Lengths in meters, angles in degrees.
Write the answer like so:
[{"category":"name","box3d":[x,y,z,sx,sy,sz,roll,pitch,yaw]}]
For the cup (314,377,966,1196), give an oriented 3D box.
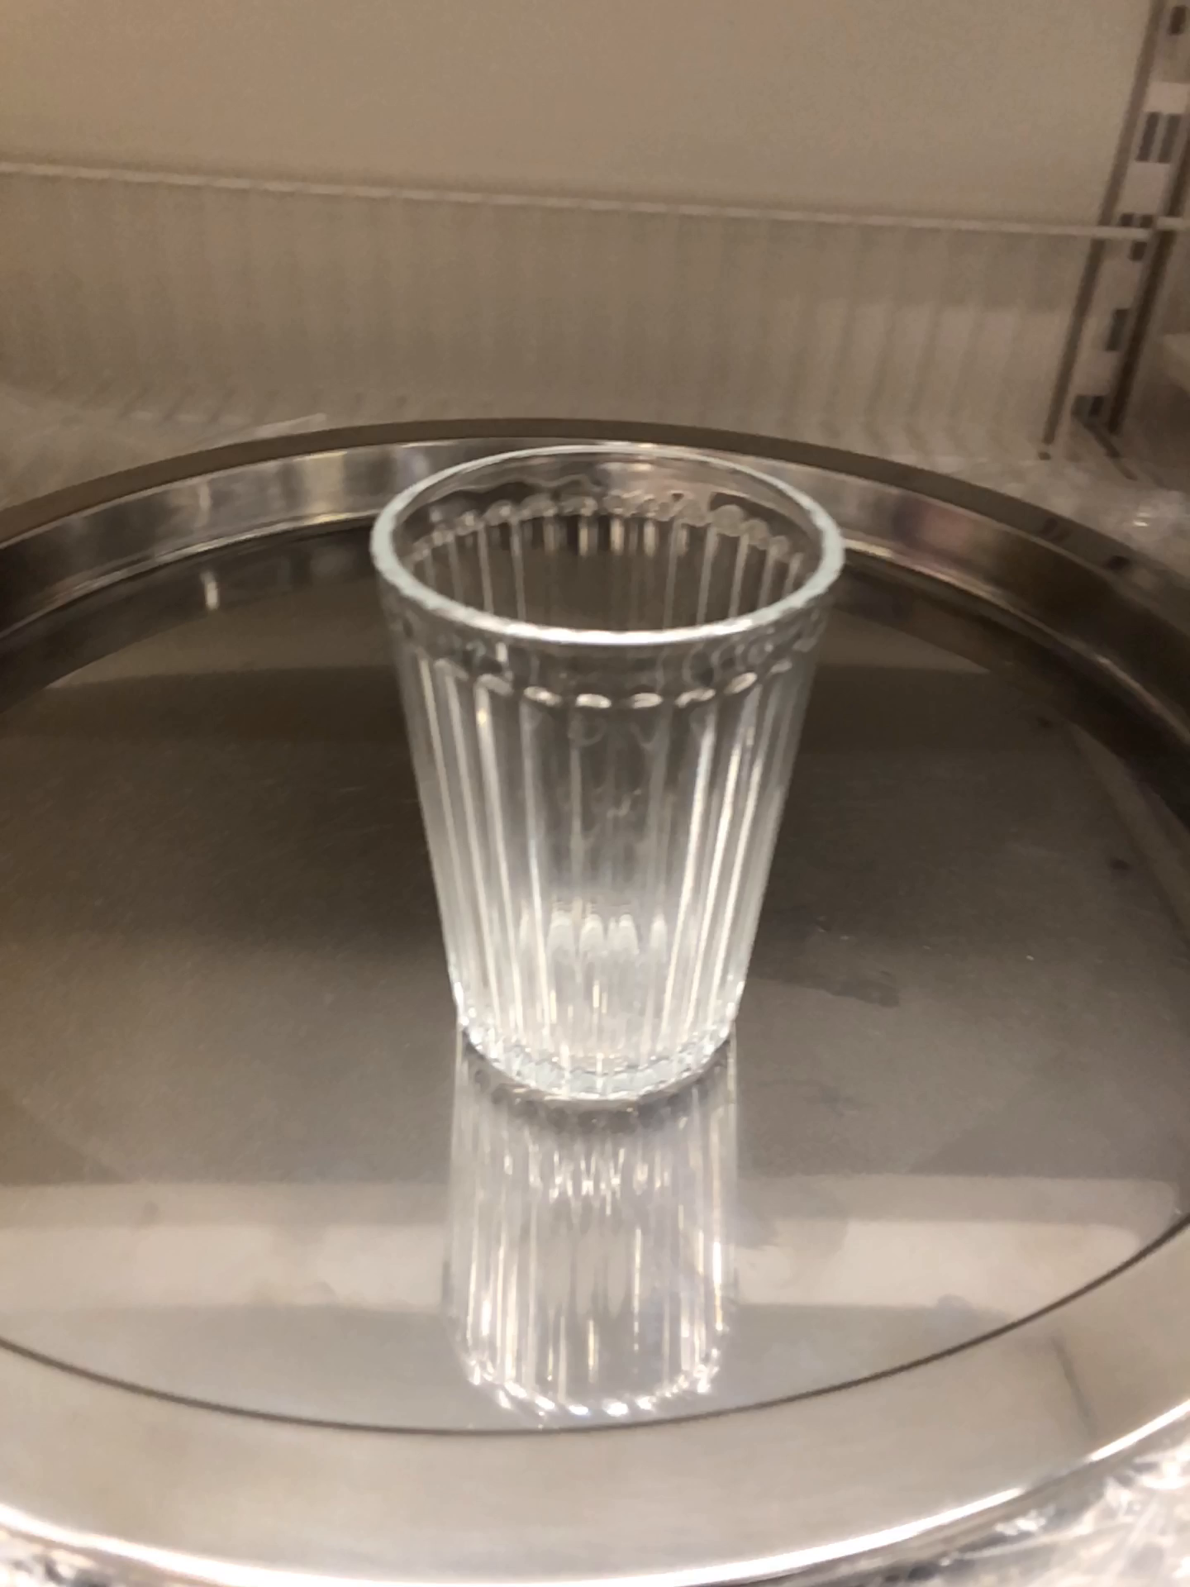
[{"category":"cup","box3d":[0.003,-0.004,0.218,0.070,0.100,0.070,0,34,0]}]
